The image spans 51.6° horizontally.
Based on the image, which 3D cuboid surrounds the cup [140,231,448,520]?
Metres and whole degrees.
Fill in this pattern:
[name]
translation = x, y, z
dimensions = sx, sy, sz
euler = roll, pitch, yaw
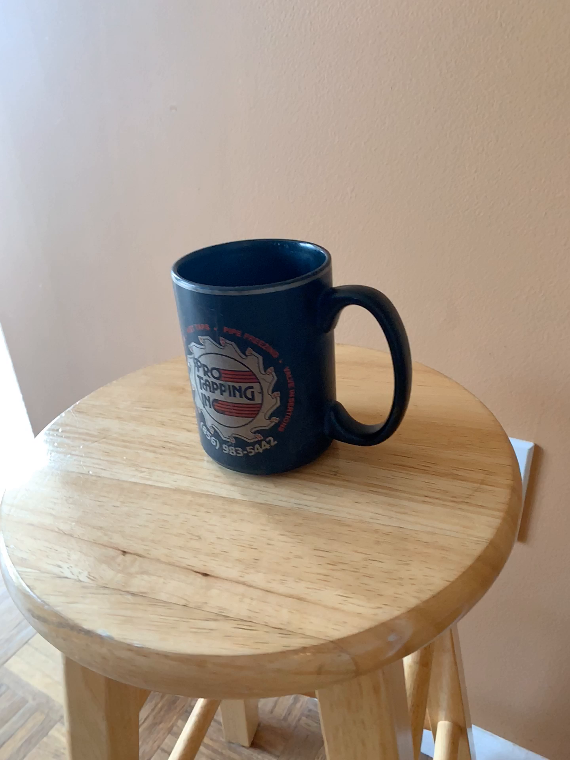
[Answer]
[cup]
translation = 0.012, -0.014, 0.356
dimensions = 0.140, 0.119, 0.110
euler = 9, 30, 23
